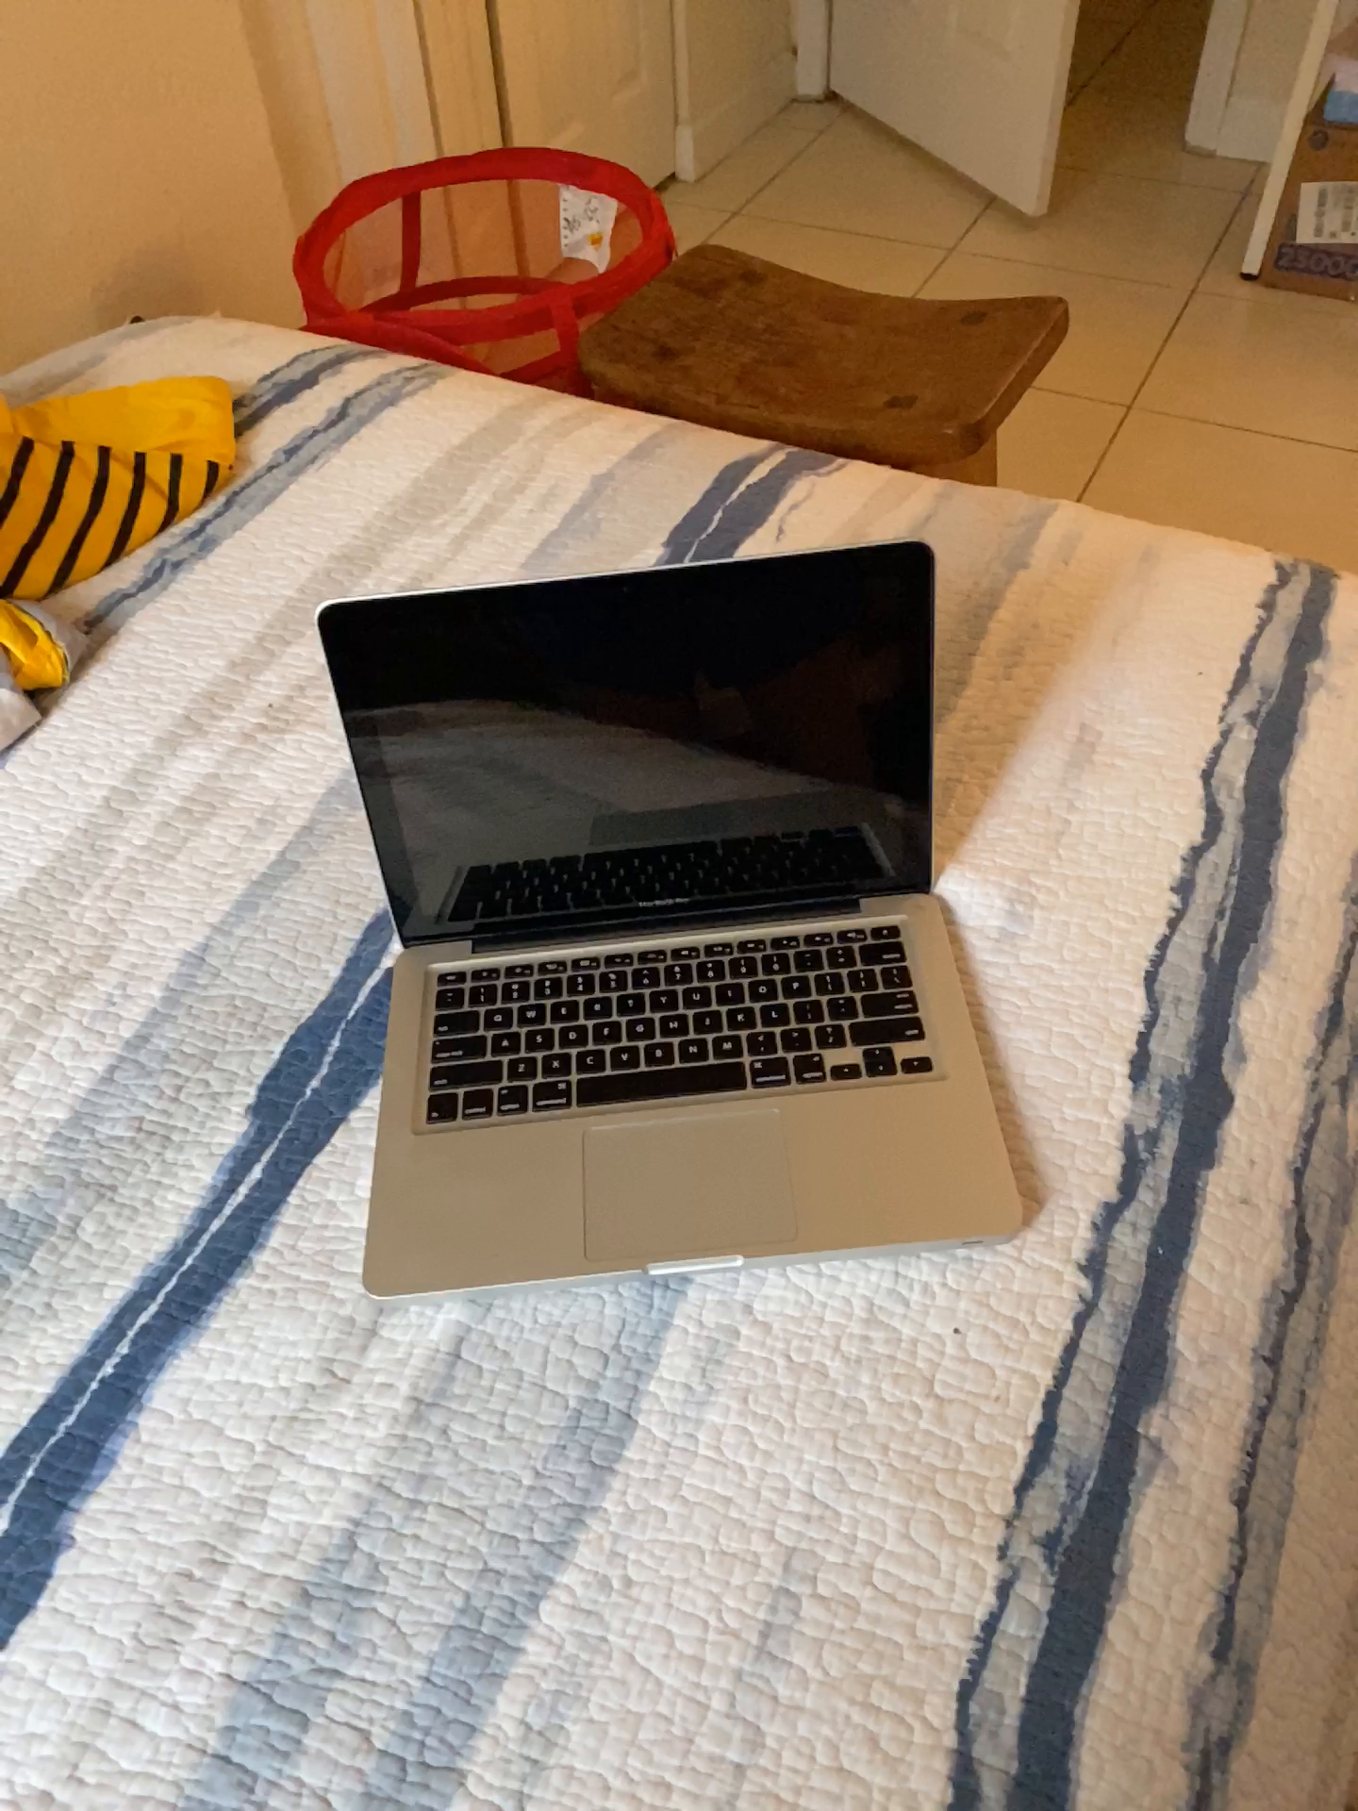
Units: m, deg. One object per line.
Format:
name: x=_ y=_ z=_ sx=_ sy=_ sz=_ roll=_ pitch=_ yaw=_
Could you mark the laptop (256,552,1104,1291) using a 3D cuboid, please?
laptop: x=-0.007 y=0.002 z=0.688 sx=0.318 sy=0.199 sz=0.279 roll=-6 pitch=47 yaw=0
